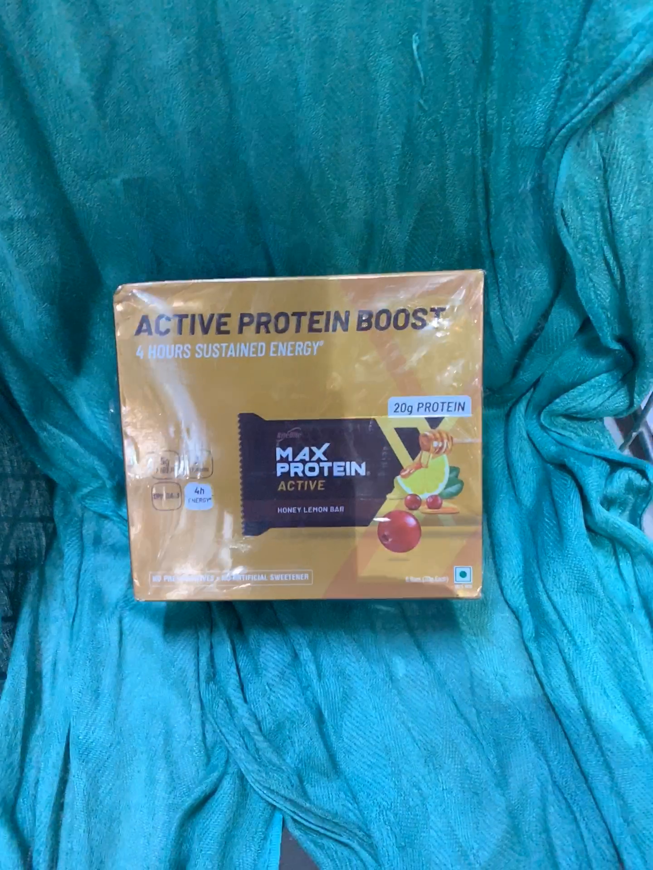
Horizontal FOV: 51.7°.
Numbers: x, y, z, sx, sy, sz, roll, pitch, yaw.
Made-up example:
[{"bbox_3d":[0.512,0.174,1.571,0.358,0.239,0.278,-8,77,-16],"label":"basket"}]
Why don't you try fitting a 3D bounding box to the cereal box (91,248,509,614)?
[{"bbox_3d":[-0.008,-0.002,0.305,0.160,0.080,0.140,-2,95,3],"label":"cereal box"}]
